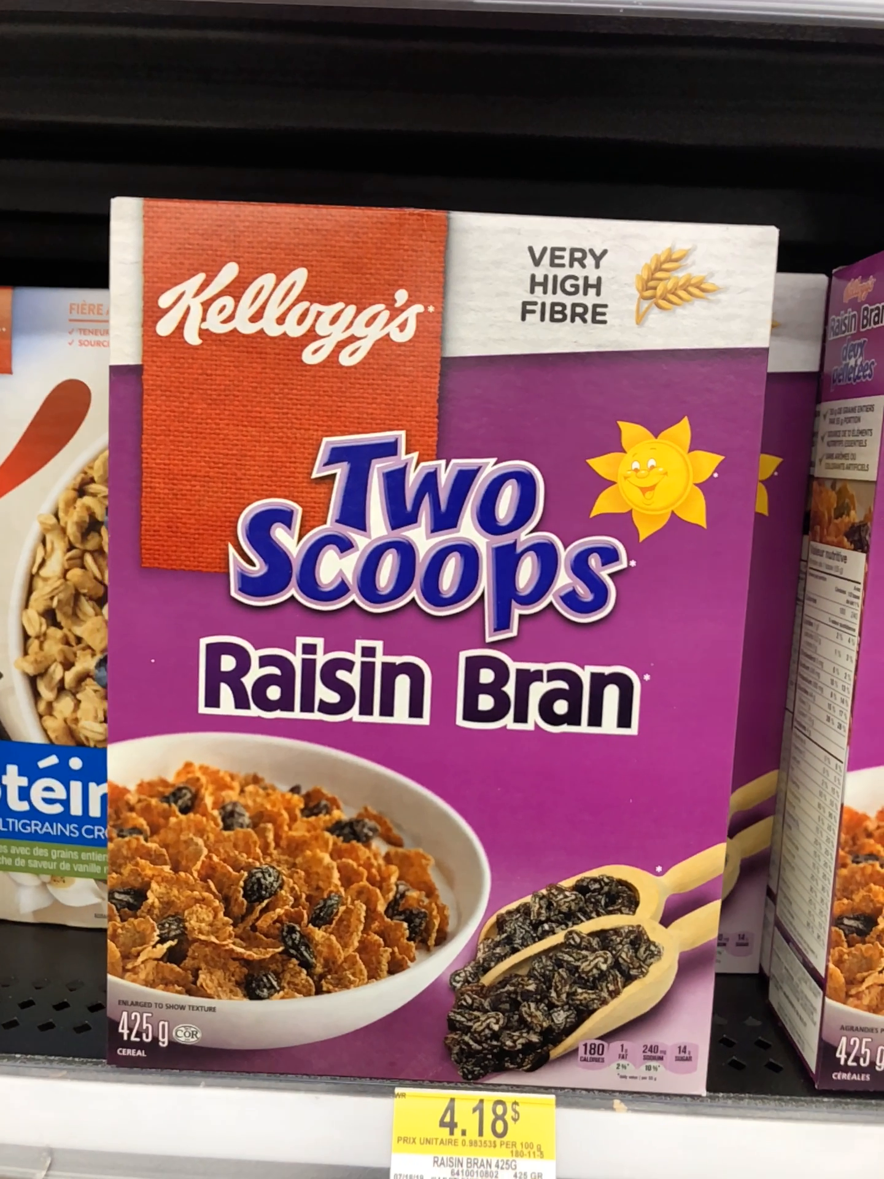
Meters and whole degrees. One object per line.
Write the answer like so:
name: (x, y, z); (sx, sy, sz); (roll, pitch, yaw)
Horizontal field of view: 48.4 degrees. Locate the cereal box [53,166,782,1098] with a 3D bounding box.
cereal box: (-0.013, 0.018, 0.313); (0.200, 0.269, 0.050); (3, 8, 0)
